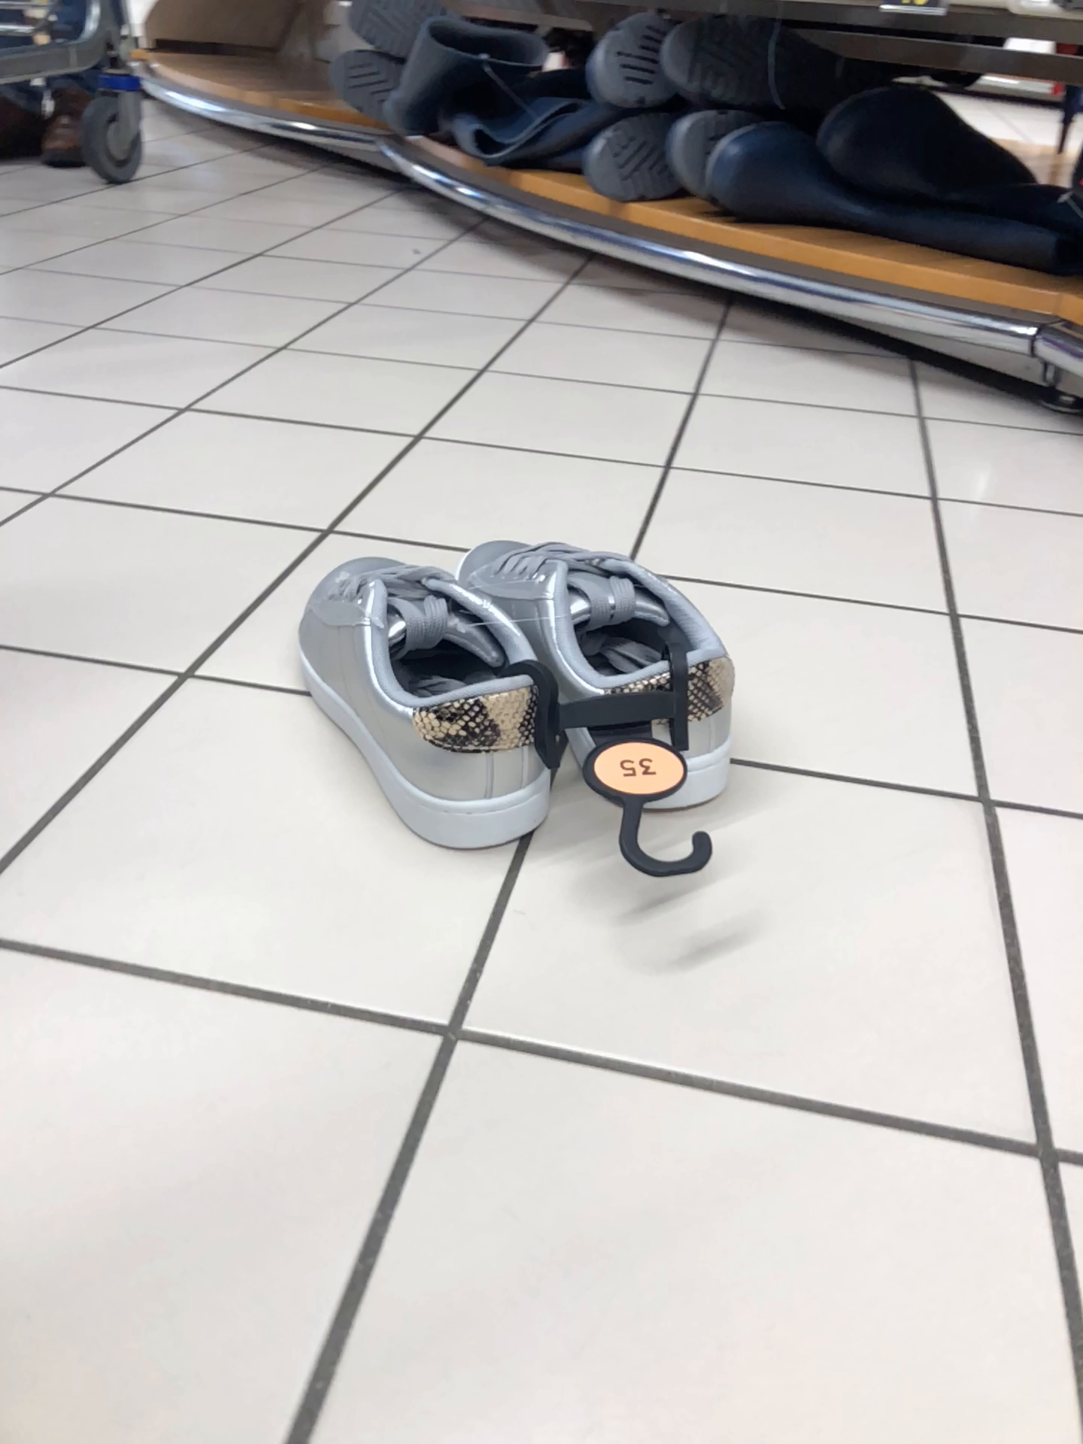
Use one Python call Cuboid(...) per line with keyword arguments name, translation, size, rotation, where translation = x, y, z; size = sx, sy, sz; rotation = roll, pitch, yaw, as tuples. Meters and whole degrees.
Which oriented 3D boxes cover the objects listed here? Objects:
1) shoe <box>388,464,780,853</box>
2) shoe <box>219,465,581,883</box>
Cuboid(name="shoe", translation=(0.008, -0.046, 0.607), size=(0.090, 0.089, 0.231), rotation=(-14, 36, -25))
Cuboid(name="shoe", translation=(-0.078, -0.037, 0.570), size=(0.090, 0.089, 0.231), rotation=(-13, 35, -24))
